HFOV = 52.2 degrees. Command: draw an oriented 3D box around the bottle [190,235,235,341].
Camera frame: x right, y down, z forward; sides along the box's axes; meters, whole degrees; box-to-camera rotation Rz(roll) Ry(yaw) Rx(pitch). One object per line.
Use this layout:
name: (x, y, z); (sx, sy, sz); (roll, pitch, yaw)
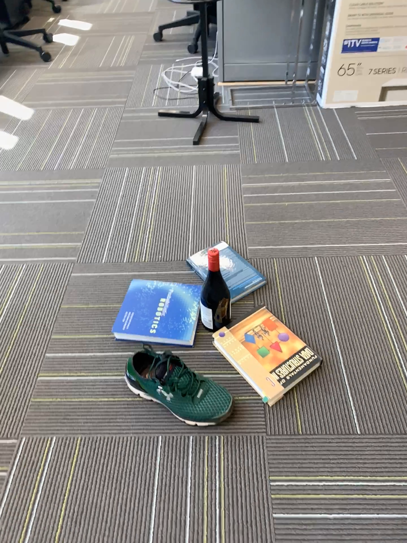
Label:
bottle: (0.027, 0.054, 1.124); (0.080, 0.299, 0.090); (-21, 48, -16)
